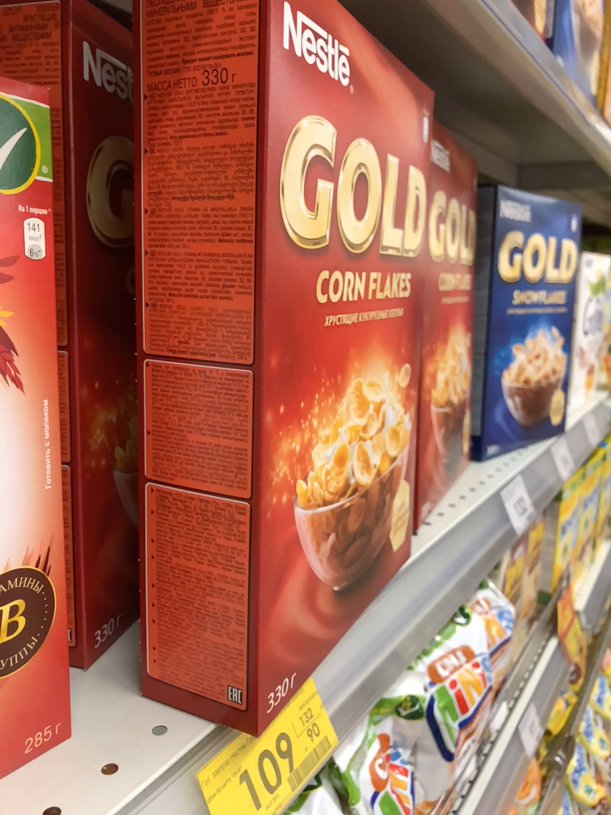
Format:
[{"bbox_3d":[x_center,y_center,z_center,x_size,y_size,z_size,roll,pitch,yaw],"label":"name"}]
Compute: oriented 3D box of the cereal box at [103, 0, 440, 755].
[{"bbox_3d":[-0.001,-0.030,0.325,0.060,0.279,0.201,7,12,25],"label":"cereal box"}]
